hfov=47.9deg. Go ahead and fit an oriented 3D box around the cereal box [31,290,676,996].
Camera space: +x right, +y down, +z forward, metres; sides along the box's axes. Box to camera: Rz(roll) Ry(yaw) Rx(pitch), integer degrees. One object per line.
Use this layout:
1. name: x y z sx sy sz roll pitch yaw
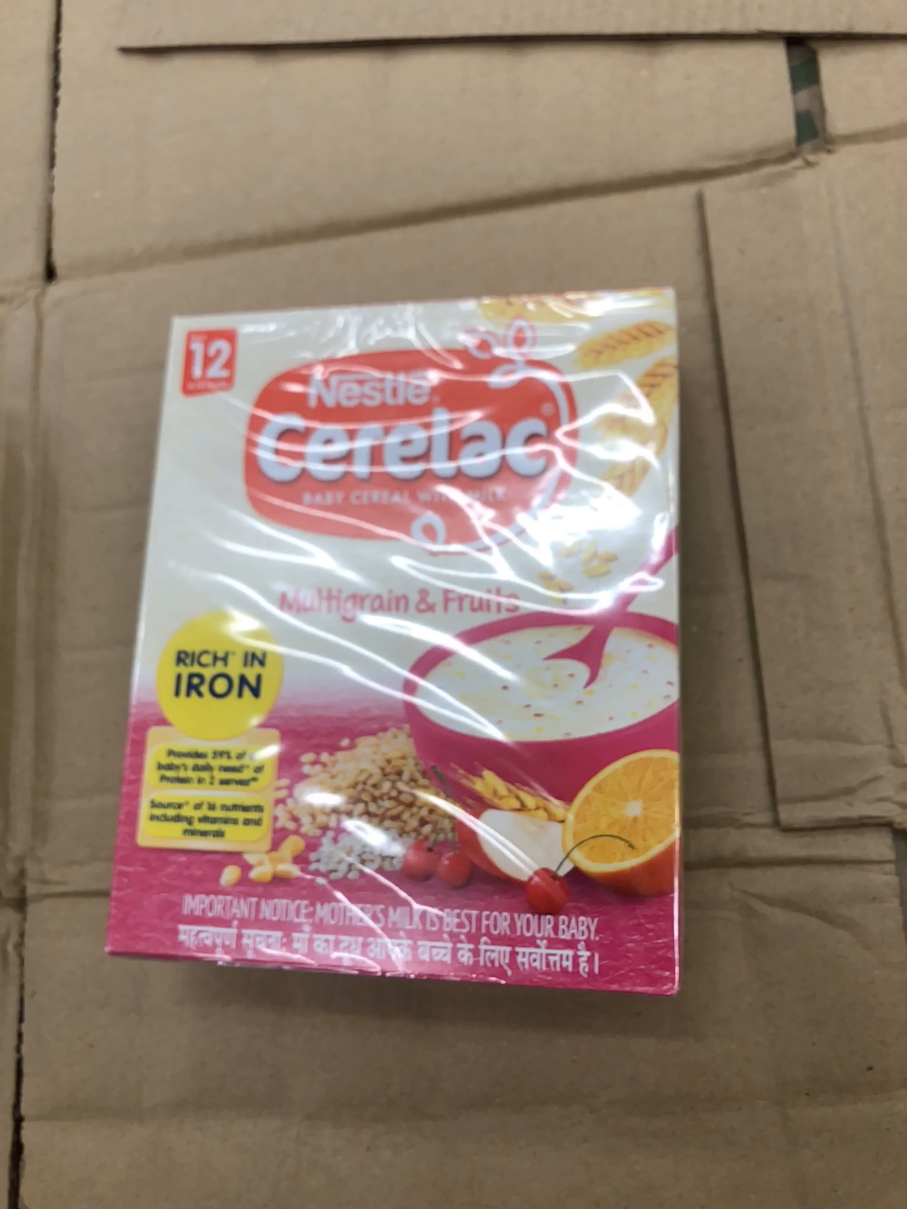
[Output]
1. cereal box: -0.022 0.009 0.283 0.160 0.050 0.170 -1 78 12
